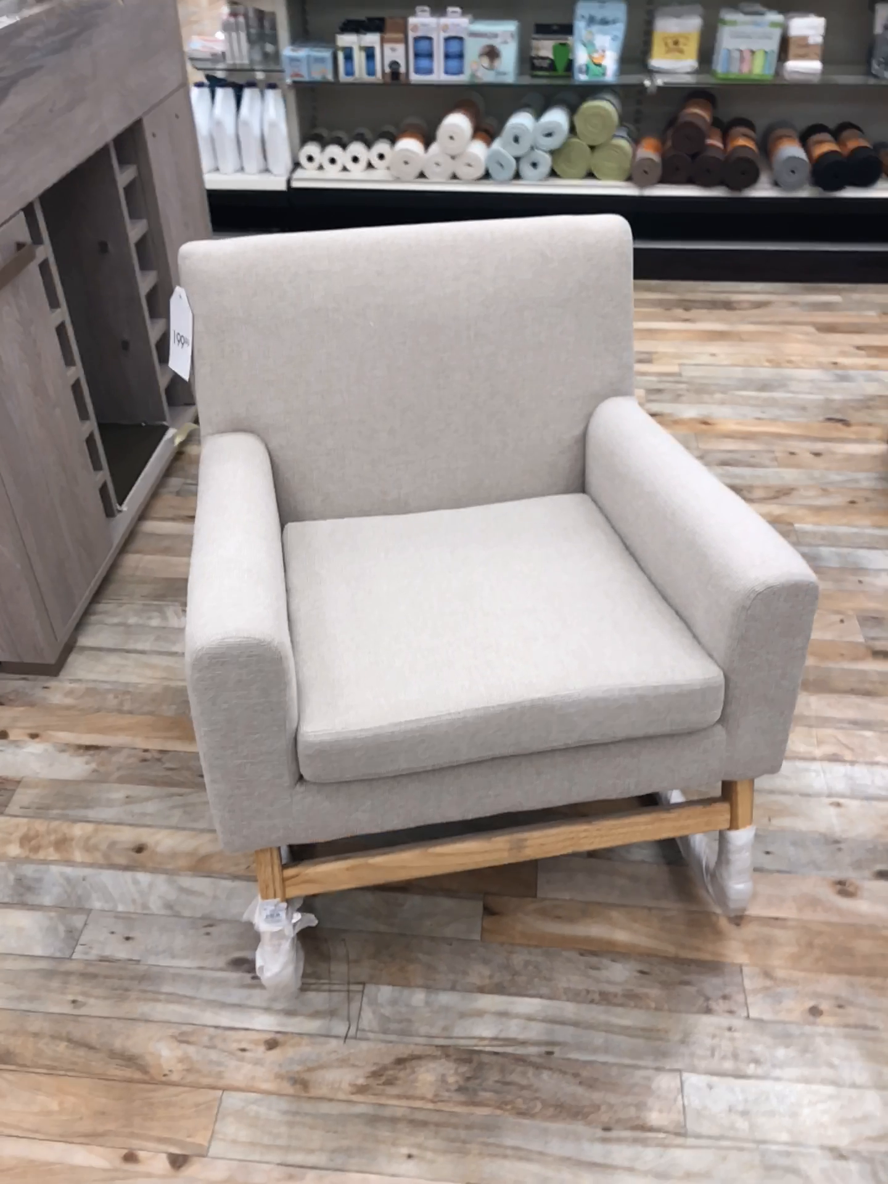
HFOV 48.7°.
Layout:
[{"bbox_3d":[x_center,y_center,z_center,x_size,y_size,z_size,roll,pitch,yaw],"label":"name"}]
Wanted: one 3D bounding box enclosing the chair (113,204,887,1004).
[{"bbox_3d":[0.026,-0.029,1.330,0.700,0.707,0.743,-6,39,-7],"label":"chair"}]
